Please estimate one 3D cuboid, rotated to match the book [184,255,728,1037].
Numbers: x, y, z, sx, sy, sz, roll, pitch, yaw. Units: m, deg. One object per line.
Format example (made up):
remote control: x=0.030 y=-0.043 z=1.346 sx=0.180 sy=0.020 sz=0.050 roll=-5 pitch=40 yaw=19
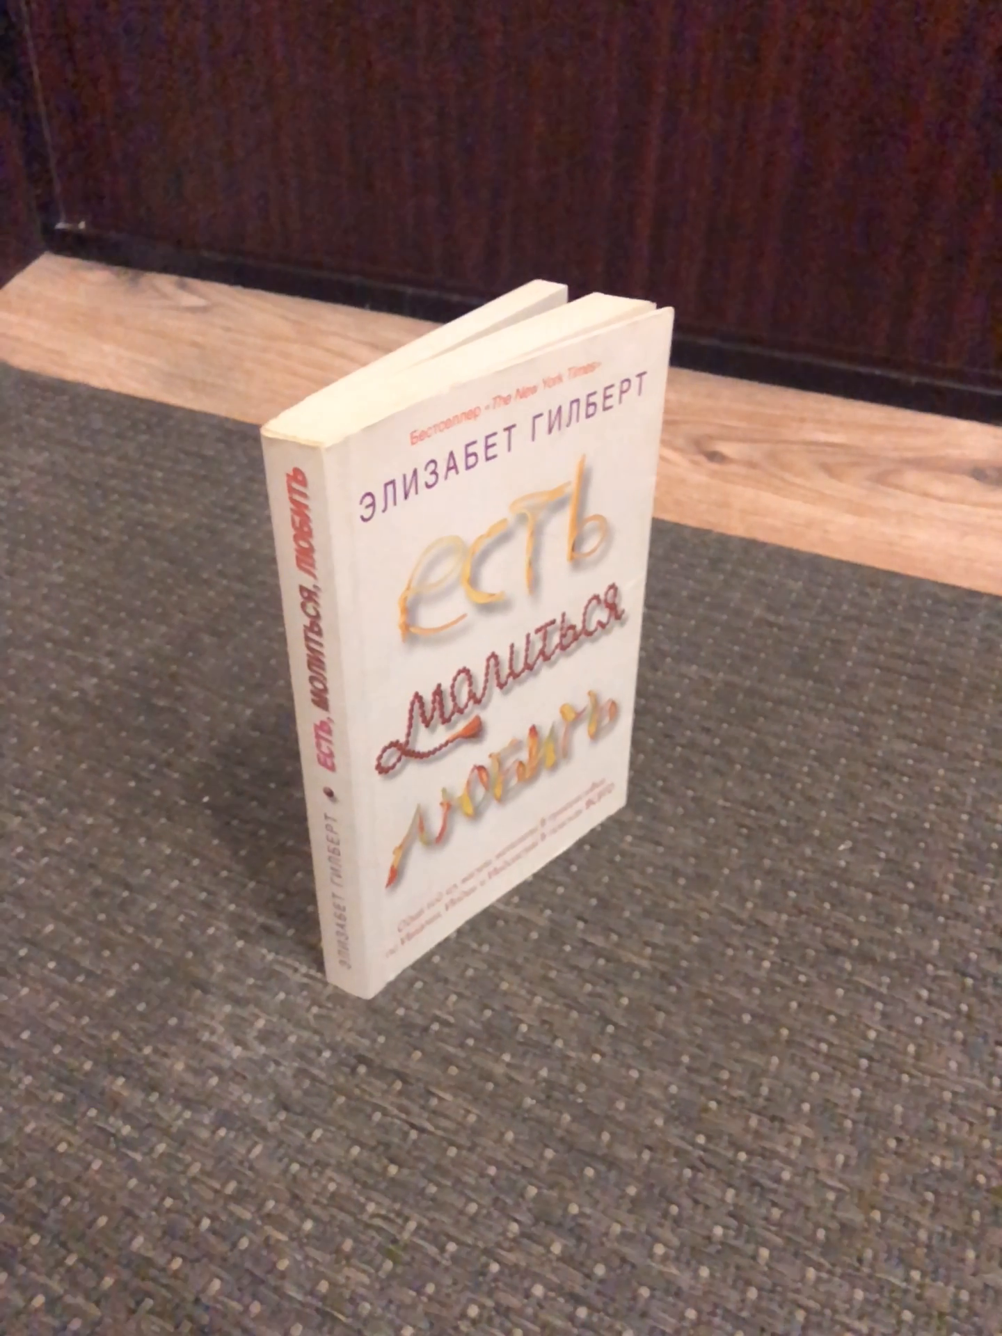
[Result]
book: x=-0.010 y=-0.009 z=0.385 sx=0.068 sy=0.213 sz=0.161 roll=28 pitch=43 yaw=29
